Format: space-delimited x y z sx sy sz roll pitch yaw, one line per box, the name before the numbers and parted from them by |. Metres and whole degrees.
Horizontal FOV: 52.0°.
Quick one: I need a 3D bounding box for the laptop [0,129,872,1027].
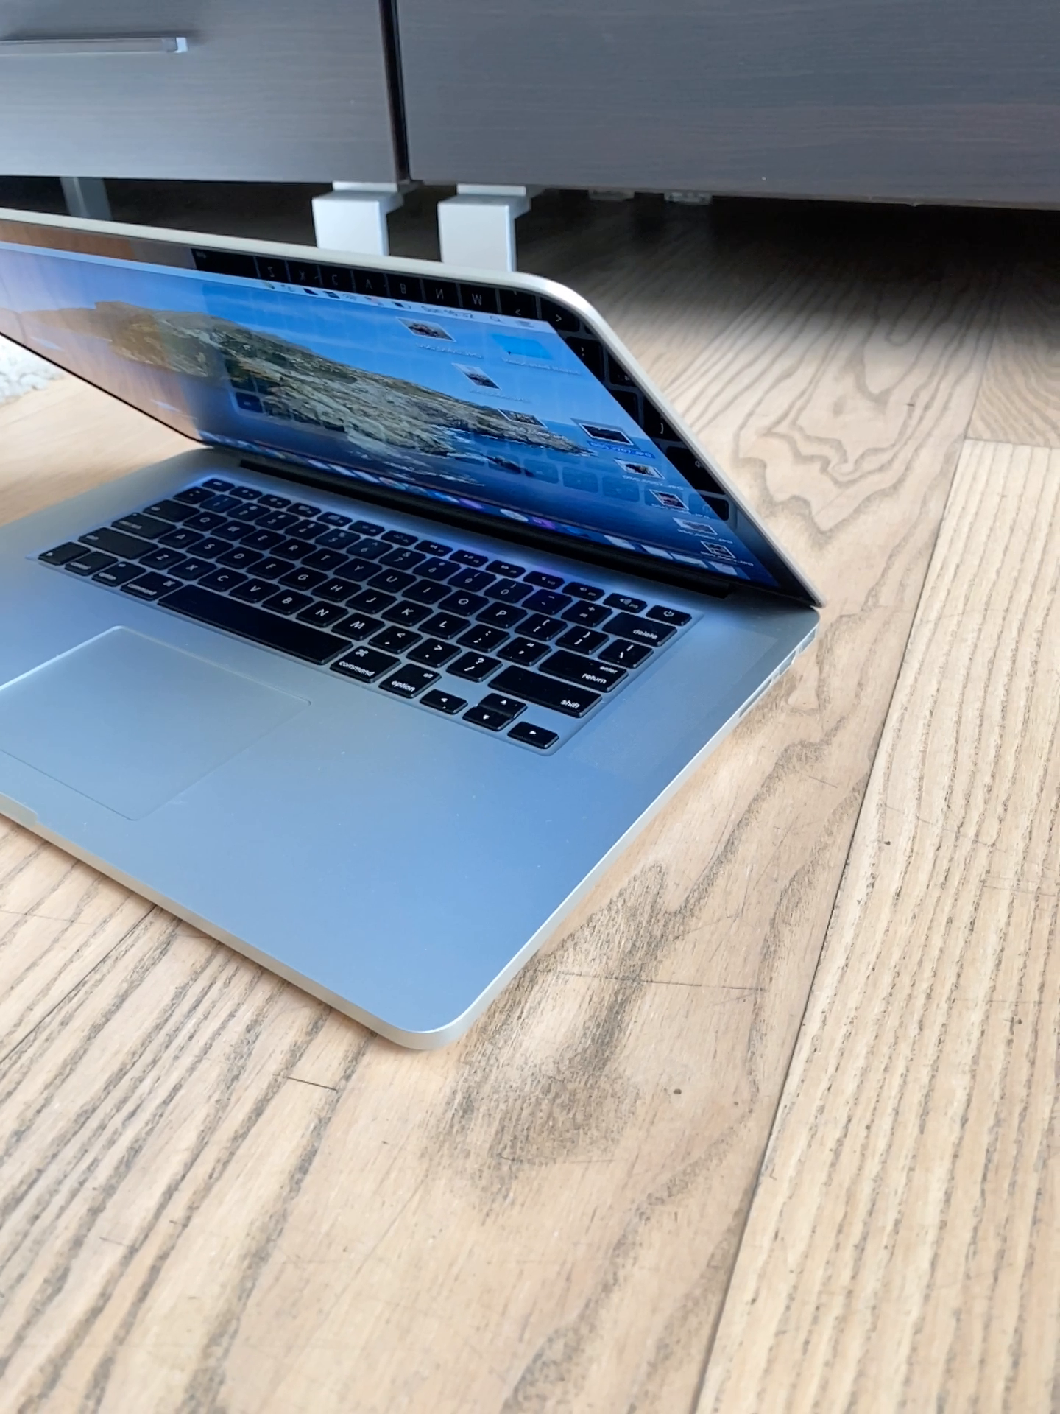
laptop | -0.108 -0.097 0.392 0.362 0.157 0.236 20 40 29
